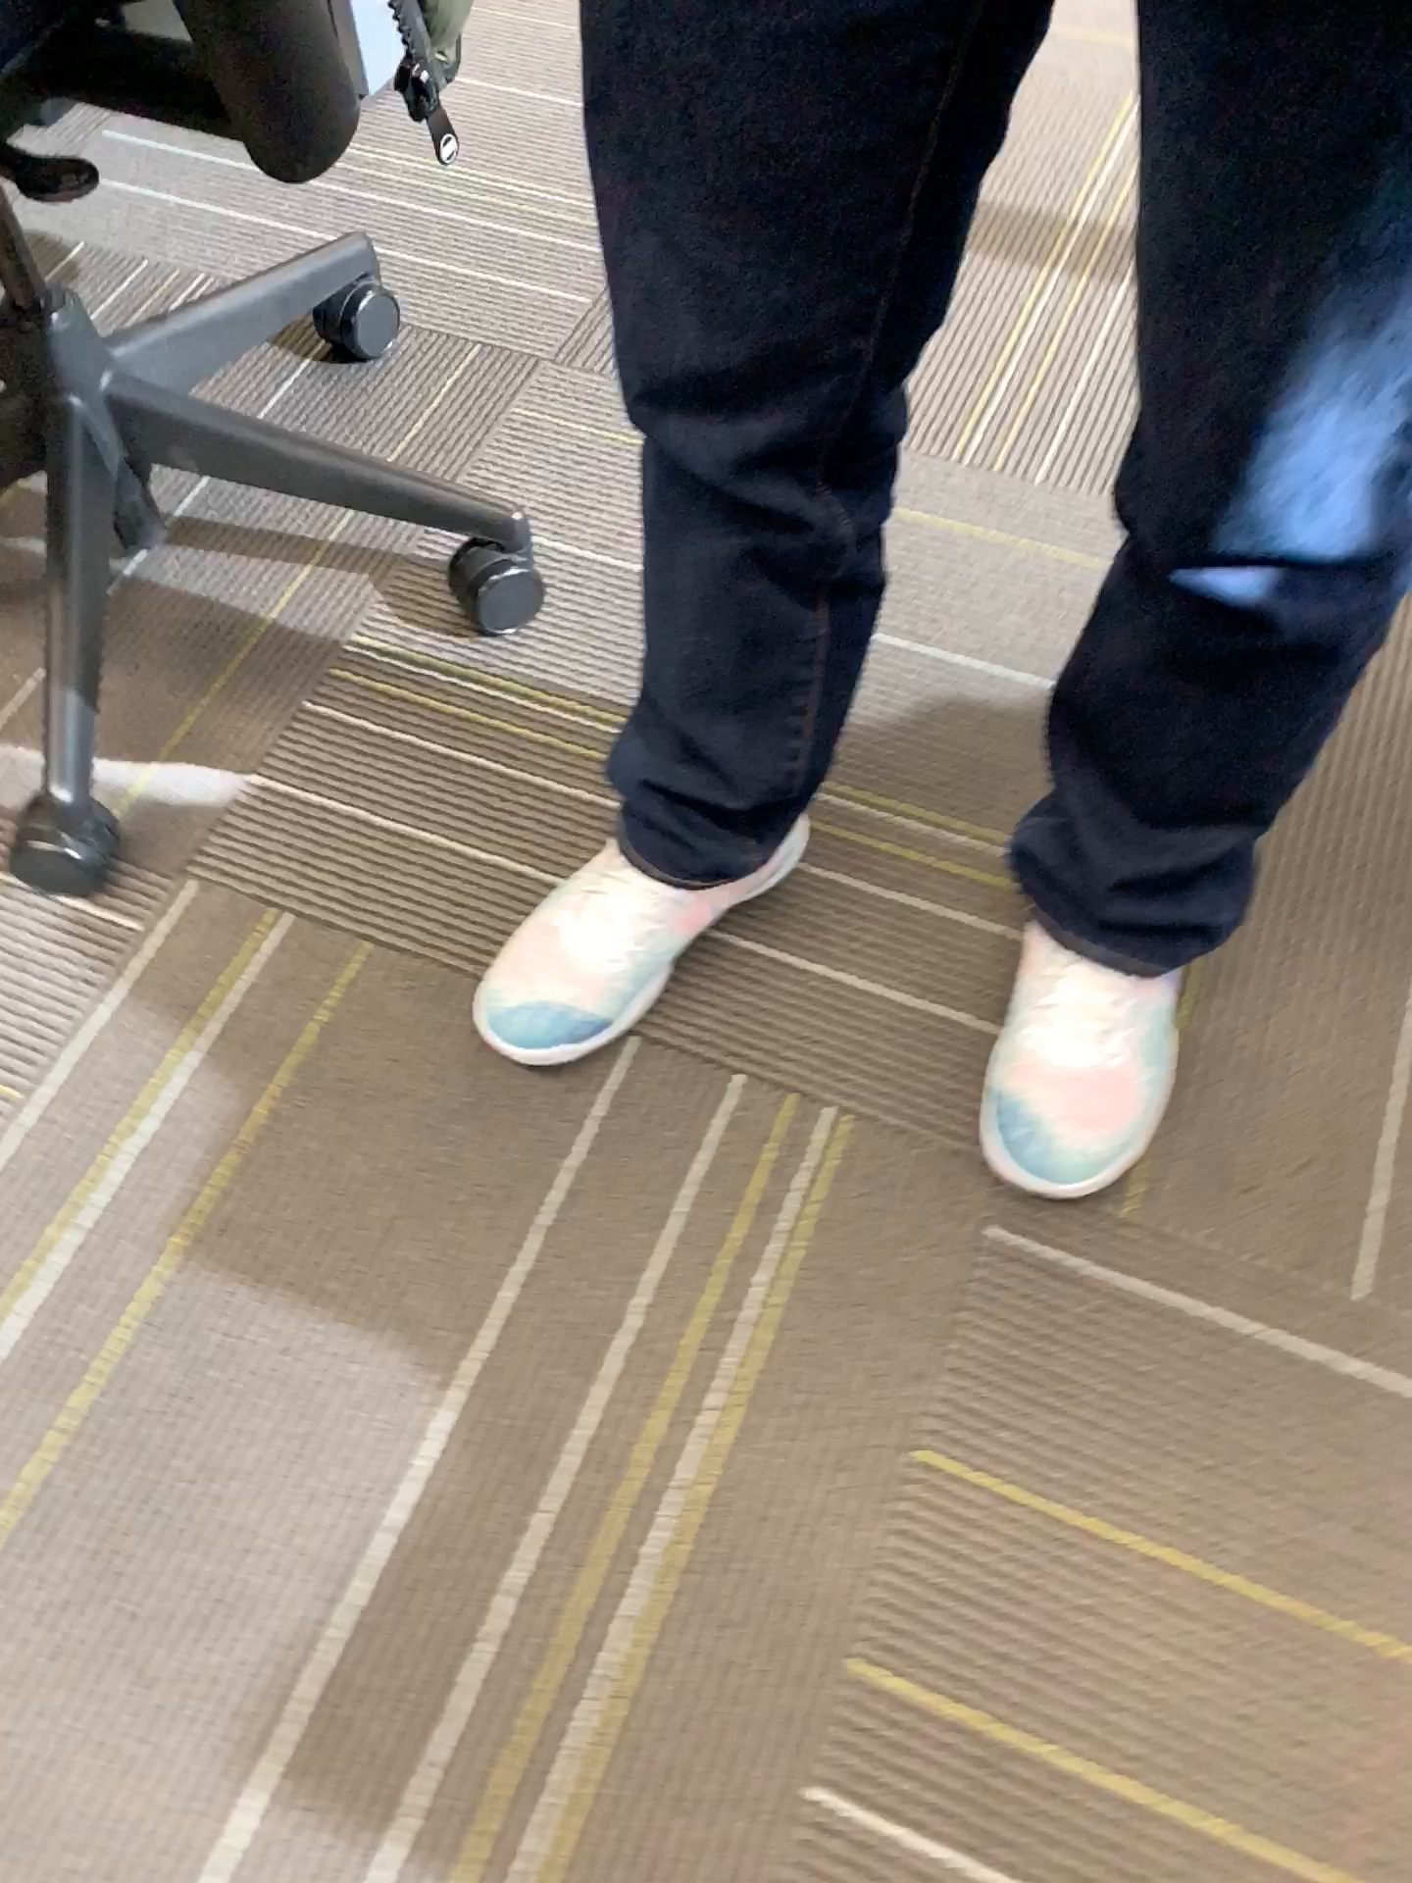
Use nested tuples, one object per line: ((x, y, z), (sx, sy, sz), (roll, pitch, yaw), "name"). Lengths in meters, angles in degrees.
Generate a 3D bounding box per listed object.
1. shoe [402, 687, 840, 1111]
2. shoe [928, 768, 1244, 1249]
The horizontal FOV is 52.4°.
((-0.050, -0.034, 0.976), (0.283, 0.088, 0.118), (-41, 65, -20), "shoe")
((0.250, 0.035, 0.934), (0.123, 0.078, 0.290), (17, 61, 14), "shoe")
